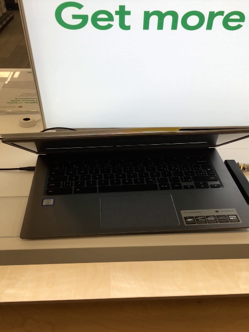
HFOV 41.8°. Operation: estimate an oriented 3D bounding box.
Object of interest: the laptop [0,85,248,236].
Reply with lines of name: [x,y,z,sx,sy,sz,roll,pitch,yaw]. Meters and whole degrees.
laptop: [0.003,-0.017,0.525,0.343,0.147,0.220,-3,38,0]
